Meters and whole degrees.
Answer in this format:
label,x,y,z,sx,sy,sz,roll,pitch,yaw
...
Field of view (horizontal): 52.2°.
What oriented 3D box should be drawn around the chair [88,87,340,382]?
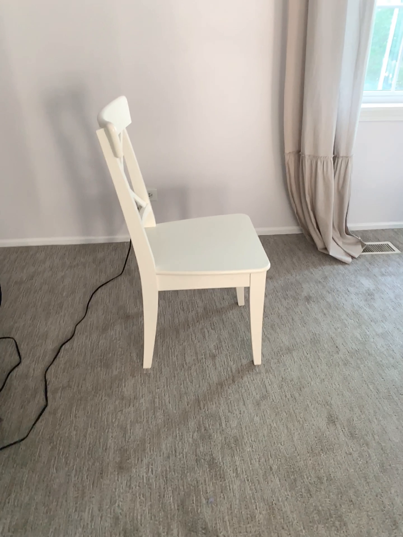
label,x,y,z,sx,sy,sz,roll,pitch,yaw
chair,0.000,-0.146,1.381,0.570,0.765,0.614,-3,32,-6
